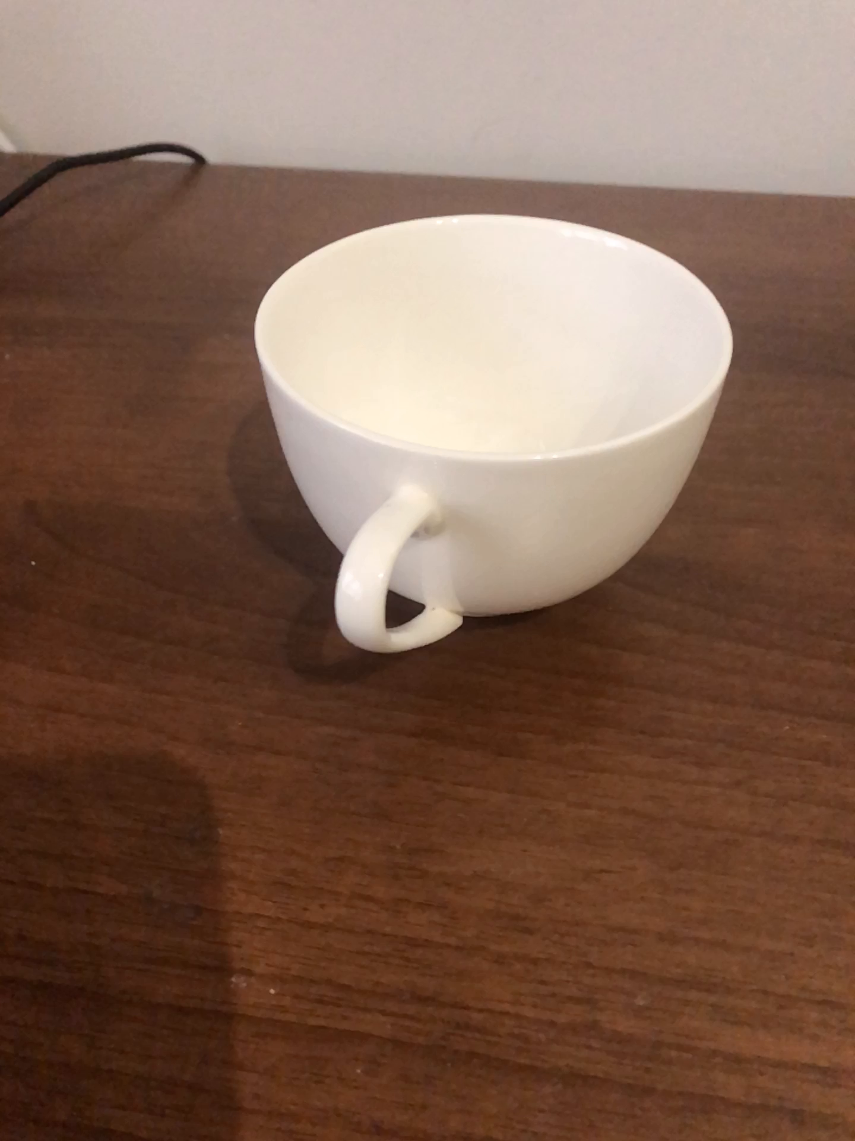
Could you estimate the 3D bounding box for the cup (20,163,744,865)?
[{"bbox_3d":[0.002,-0.021,0.191,0.090,0.069,0.111,15,44,16],"label":"cup"}]
